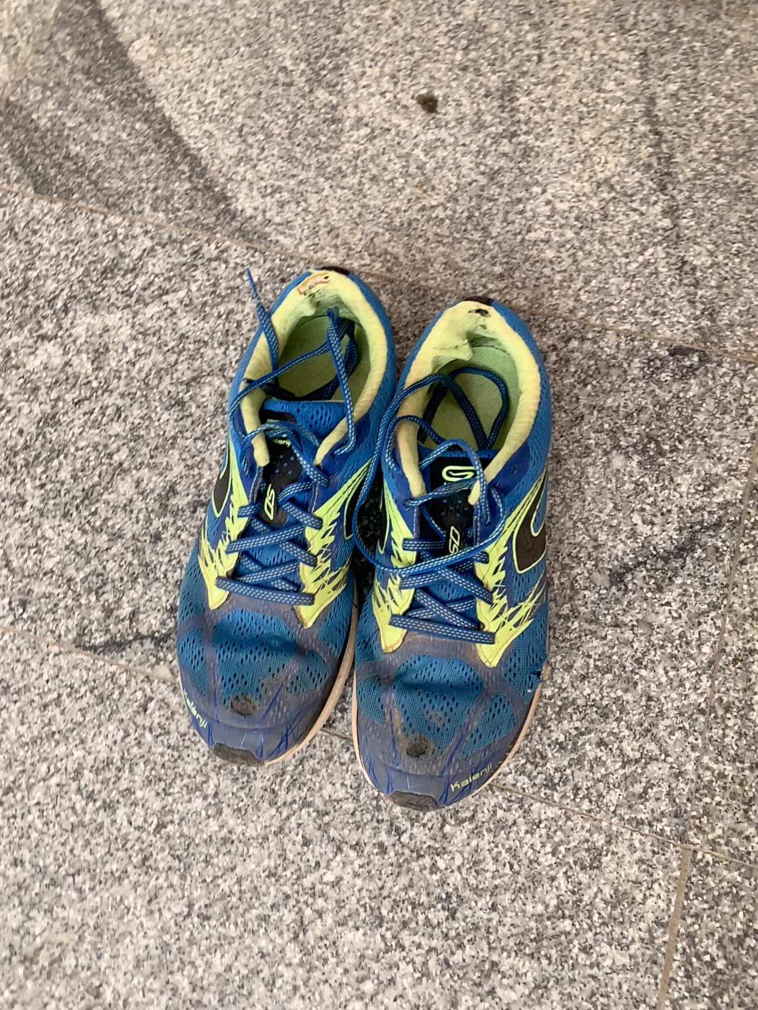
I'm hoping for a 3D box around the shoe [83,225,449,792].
[{"bbox_3d":[-0.047,-0.008,0.426,0.110,0.060,0.291,11,72,10],"label":"shoe"}]

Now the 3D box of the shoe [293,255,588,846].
[{"bbox_3d":[0.043,0.010,0.406,0.100,0.060,0.291,5,71,18],"label":"shoe"}]
